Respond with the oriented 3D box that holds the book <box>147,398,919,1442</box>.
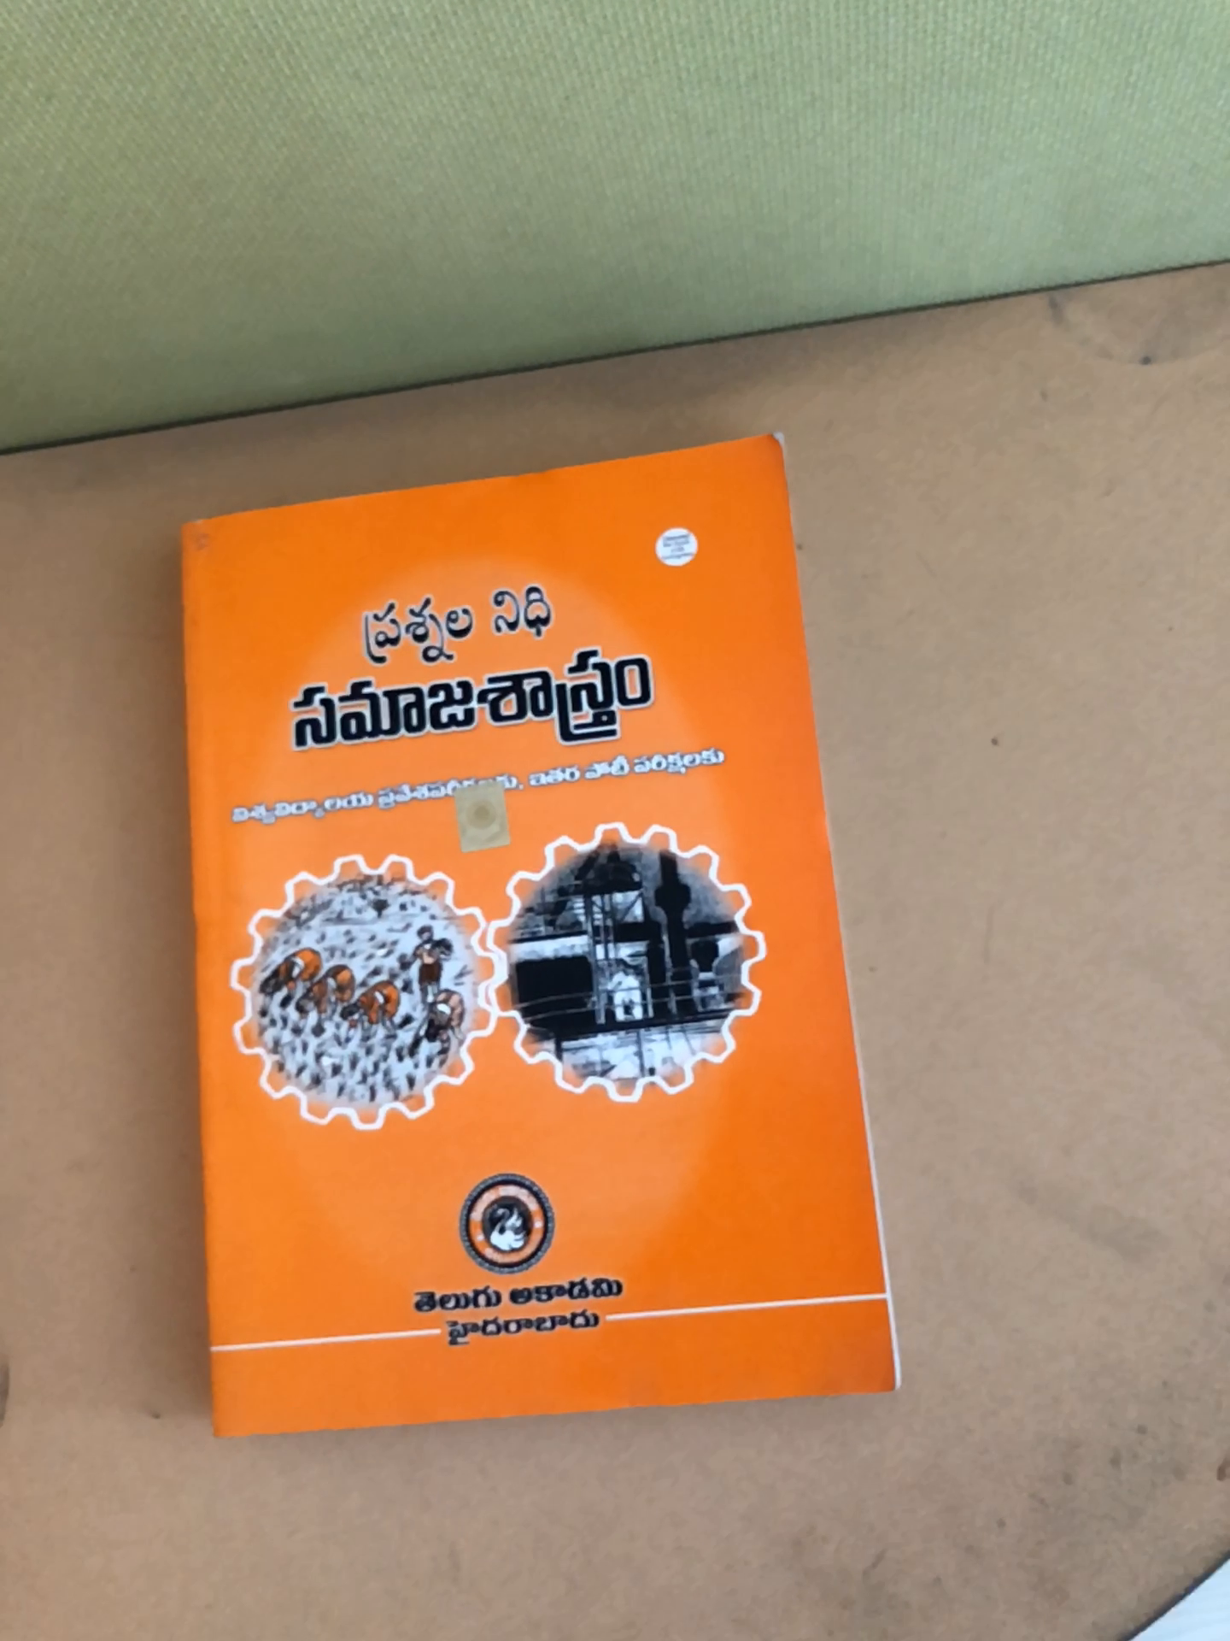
[{"bbox_3d":[-0.033,0.027,0.431,0.210,0.050,0.290,-7,78,6],"label":"book"}]
